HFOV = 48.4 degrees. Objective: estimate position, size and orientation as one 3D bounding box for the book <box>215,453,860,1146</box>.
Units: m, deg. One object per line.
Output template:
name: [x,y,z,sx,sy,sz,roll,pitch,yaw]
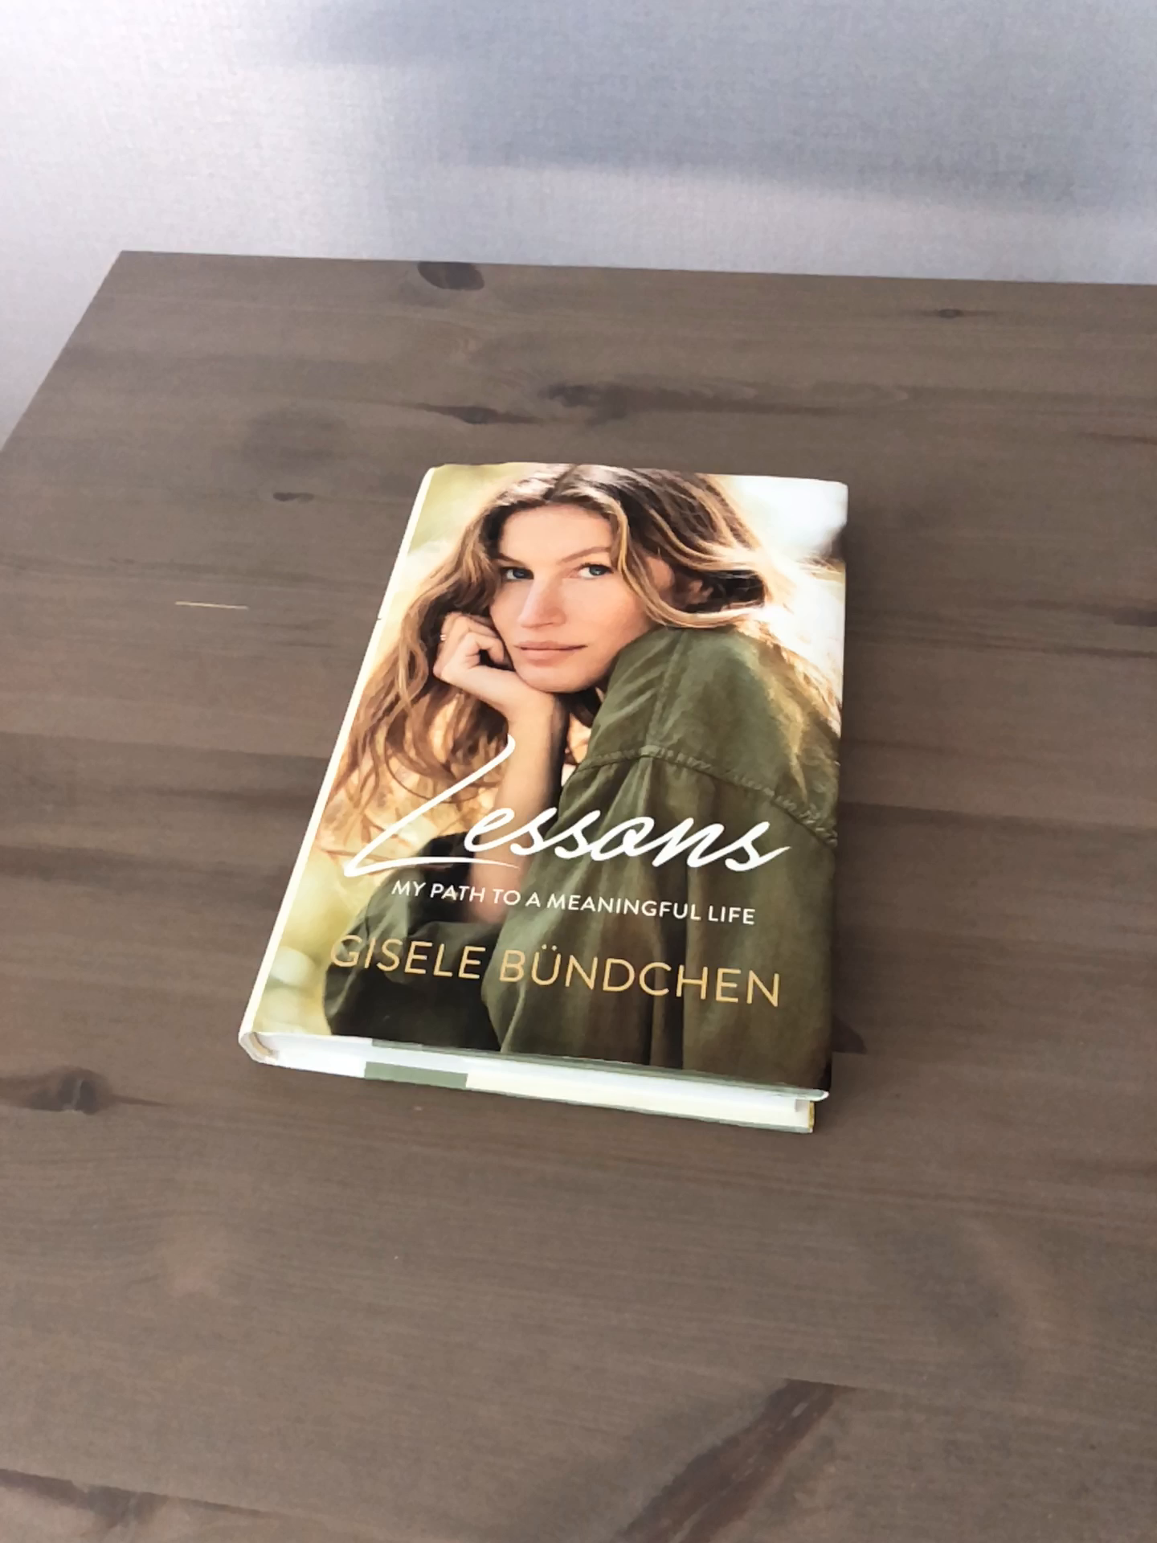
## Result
book: [0.003,-0.009,0.399,0.160,0.030,0.228,5,53,7]
